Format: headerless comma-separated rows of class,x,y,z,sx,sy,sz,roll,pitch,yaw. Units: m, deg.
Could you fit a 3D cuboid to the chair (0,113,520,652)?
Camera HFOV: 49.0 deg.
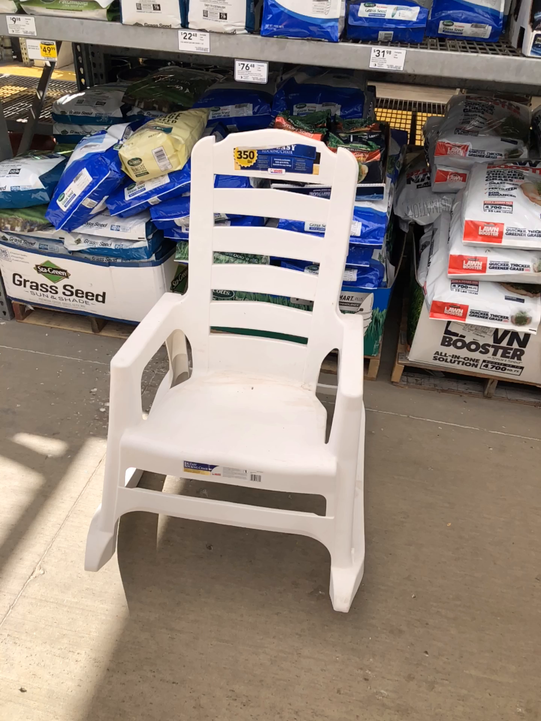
chair,-0.003,-0.034,1.610,0.844,0.927,1.037,8,34,4
